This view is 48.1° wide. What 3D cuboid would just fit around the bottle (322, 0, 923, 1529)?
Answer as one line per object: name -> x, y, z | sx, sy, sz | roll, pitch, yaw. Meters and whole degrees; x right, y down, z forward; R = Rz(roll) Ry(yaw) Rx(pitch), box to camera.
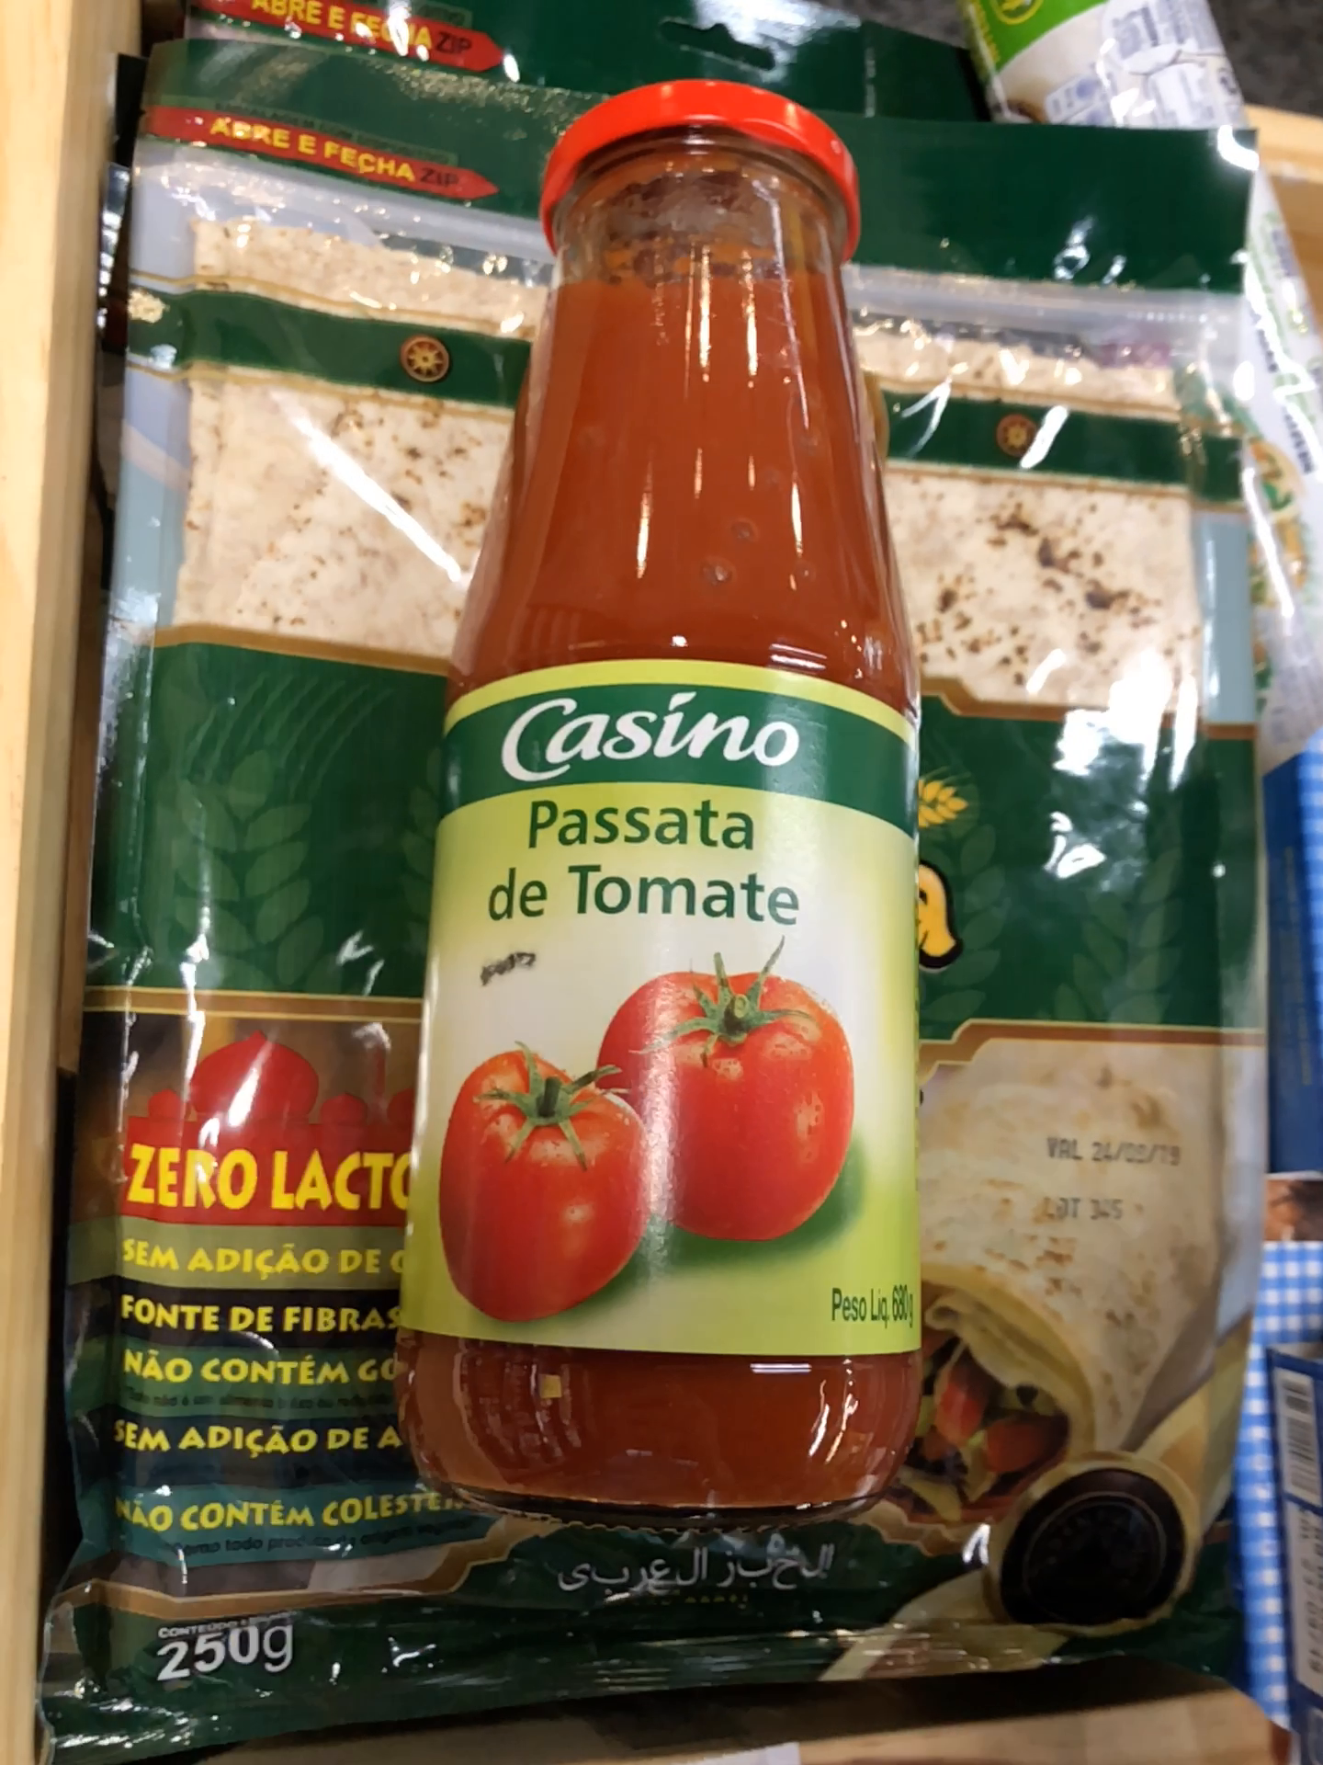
bottle -> 0.001, -0.030, 0.240 | 0.070, 0.080, 0.230 | -2, 79, 14
